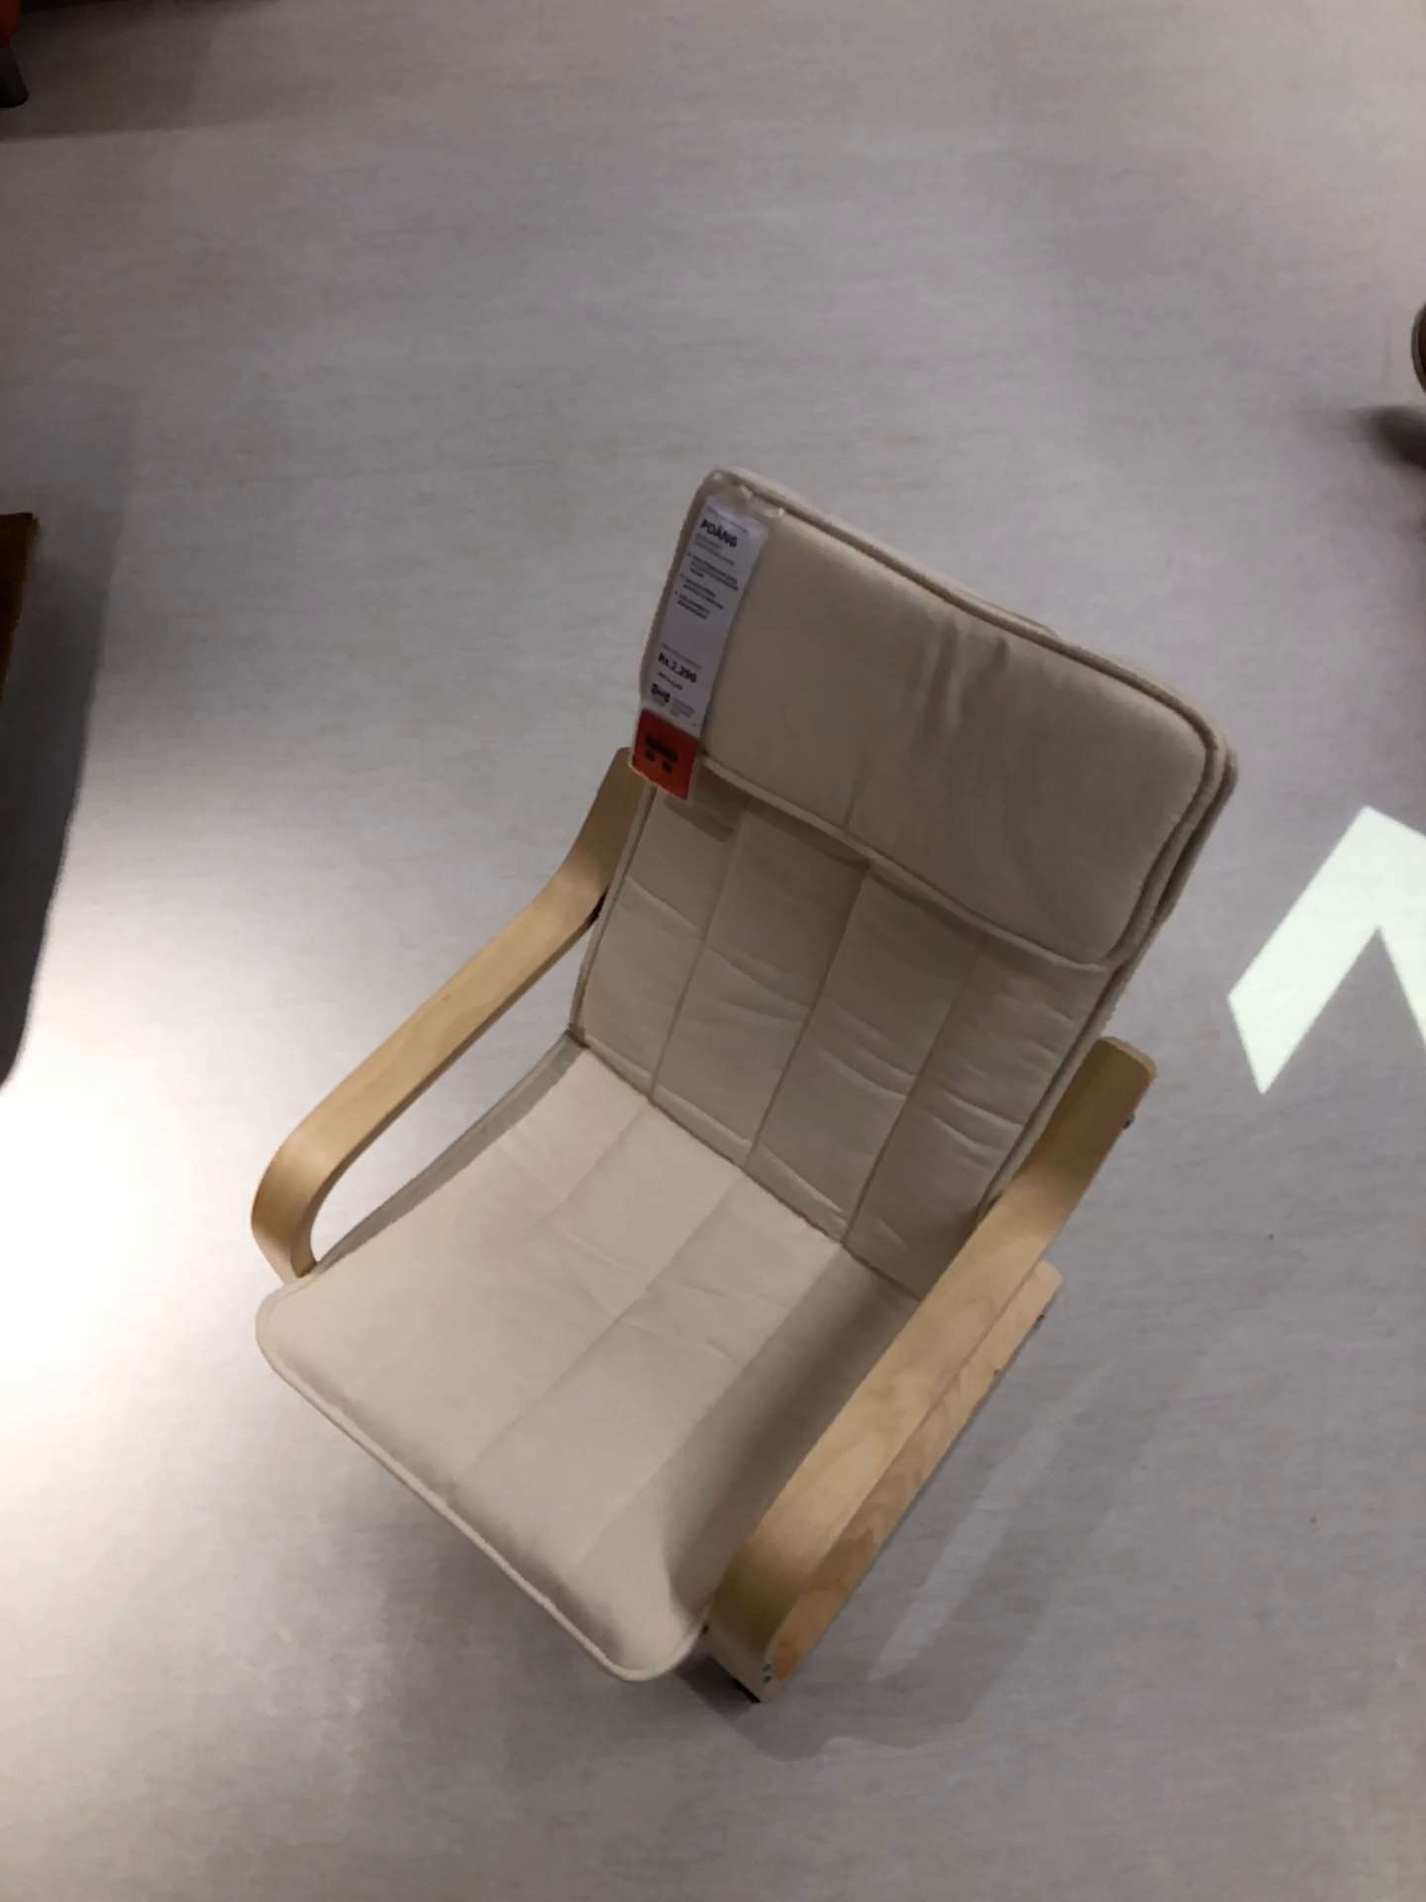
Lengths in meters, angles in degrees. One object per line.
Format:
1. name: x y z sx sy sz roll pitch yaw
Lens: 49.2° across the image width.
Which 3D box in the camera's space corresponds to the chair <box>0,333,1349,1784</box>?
1. chair: -0.043 0.144 1.189 0.561 0.836 0.582 34 64 20
